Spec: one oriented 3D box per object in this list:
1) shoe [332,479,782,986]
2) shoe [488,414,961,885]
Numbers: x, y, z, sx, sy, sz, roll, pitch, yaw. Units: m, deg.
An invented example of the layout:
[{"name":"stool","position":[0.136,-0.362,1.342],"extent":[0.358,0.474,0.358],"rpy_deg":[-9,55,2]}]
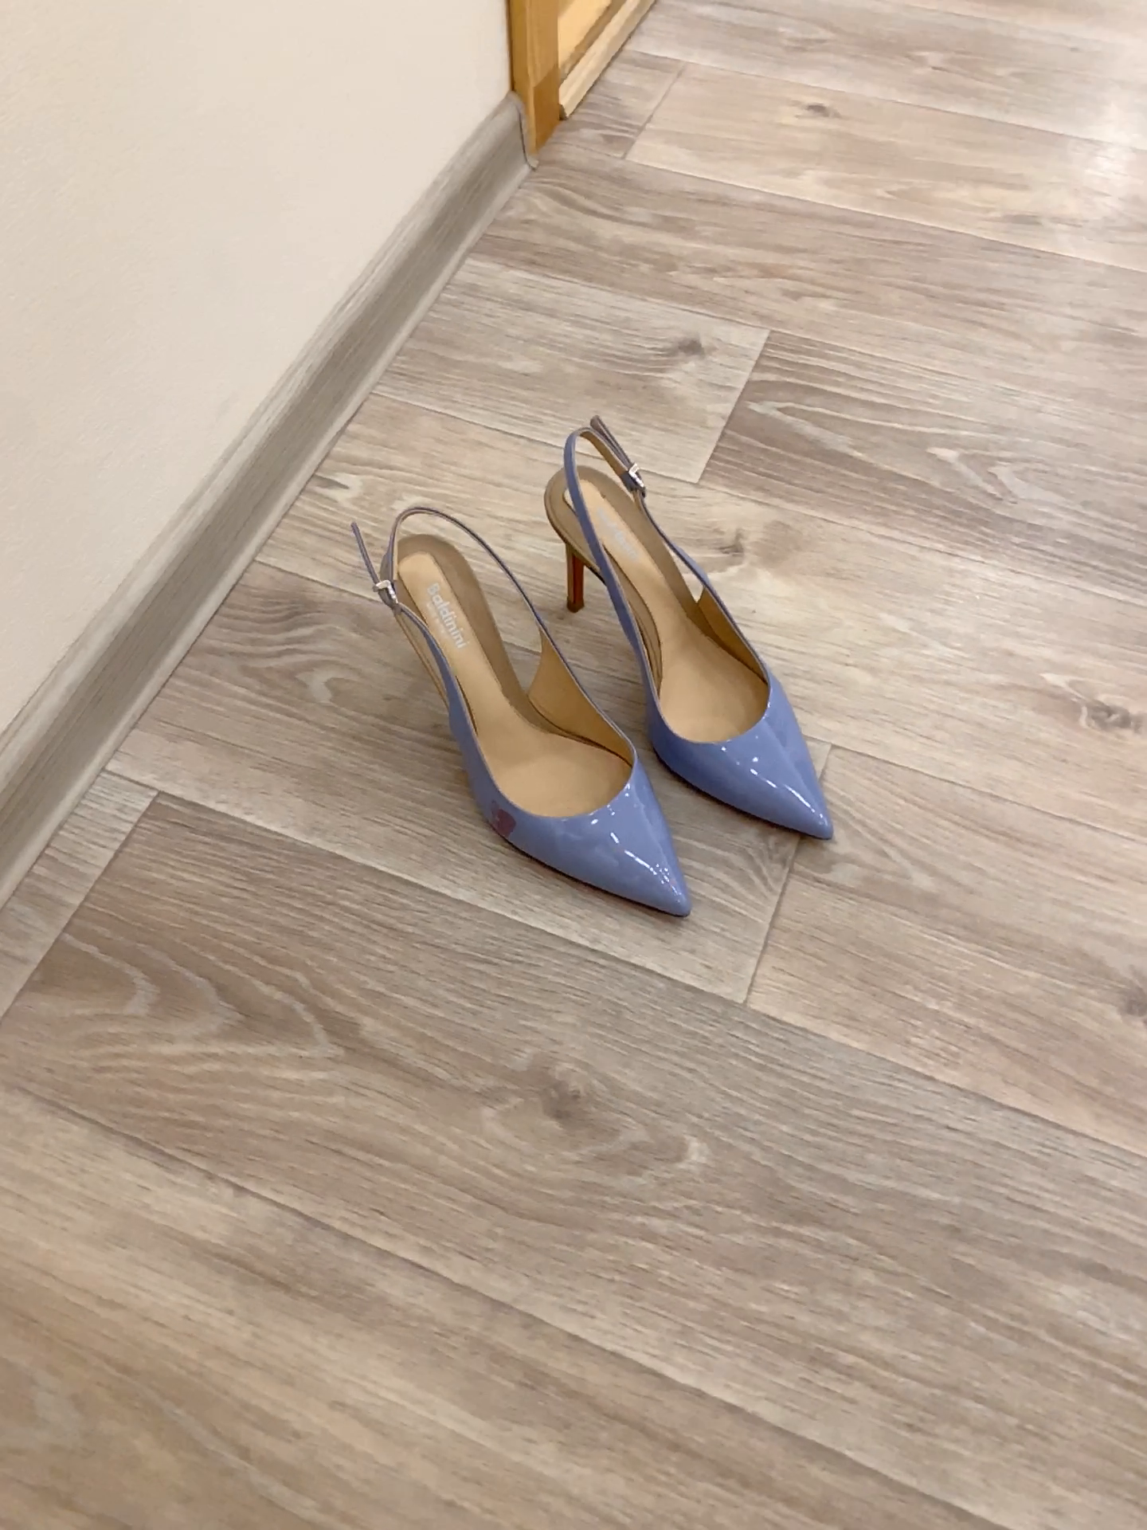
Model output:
[{"name":"shoe","position":[-0.014,-0.021,0.584],"extent":[0.089,0.100,0.231],"rpy_deg":[-32,62,-19]},{"name":"shoe","position":[0.067,-0.064,0.607],"extent":[0.089,0.100,0.231],"rpy_deg":[-37,64,-21]}]
